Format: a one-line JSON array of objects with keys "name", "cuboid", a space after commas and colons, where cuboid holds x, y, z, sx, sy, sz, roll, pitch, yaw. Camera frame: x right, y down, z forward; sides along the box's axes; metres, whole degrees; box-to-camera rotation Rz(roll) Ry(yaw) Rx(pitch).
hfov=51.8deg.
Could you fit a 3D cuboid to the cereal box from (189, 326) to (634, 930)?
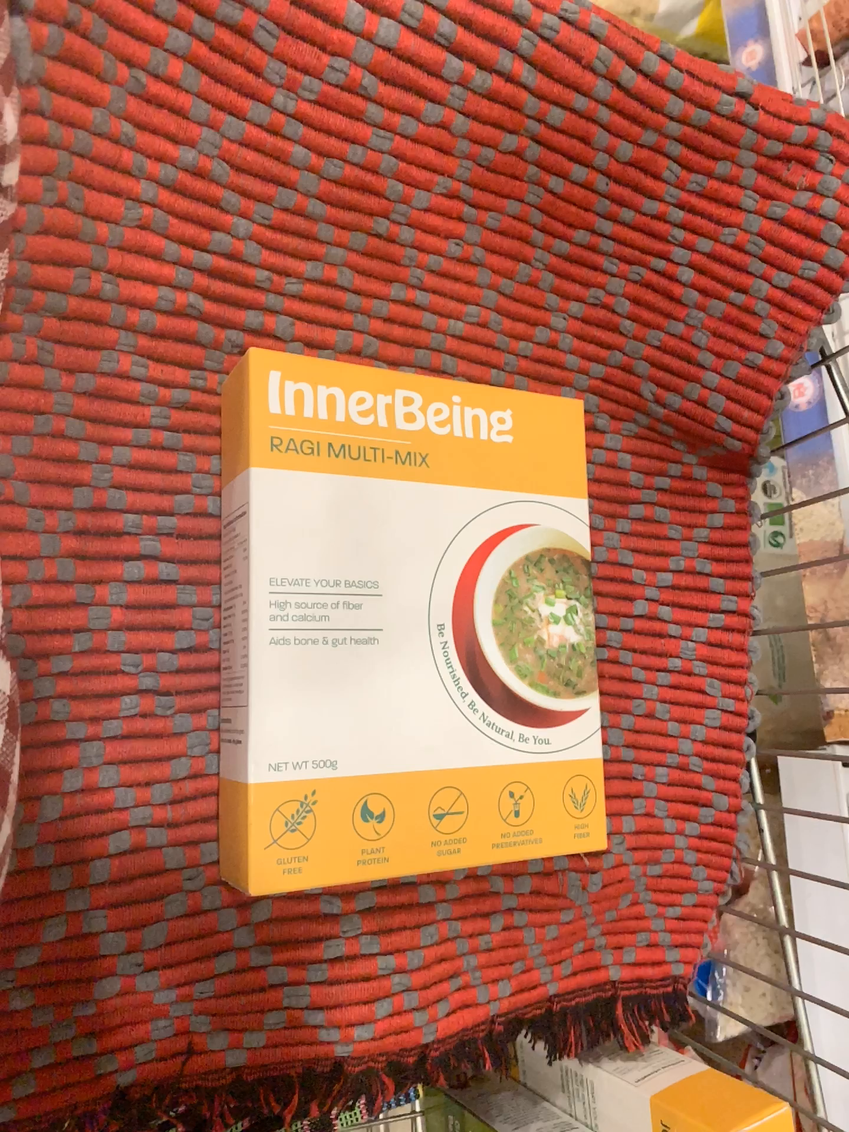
[{"name": "cereal box", "cuboid": [-0.007, 0.023, 0.340, 0.150, 0.070, 0.190, 3, 80, -27]}]
